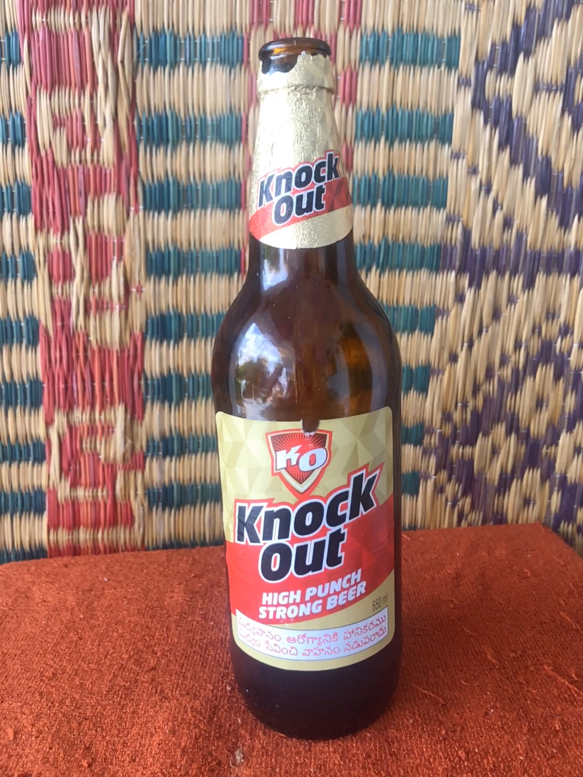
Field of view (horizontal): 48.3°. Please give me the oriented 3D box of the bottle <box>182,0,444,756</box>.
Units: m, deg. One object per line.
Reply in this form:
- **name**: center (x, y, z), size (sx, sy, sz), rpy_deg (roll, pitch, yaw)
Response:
- **bottle**: center (0.006, 0.005, 0.241), size (0.070, 0.249, 0.070), rpy_deg (-1, 16, 0)
